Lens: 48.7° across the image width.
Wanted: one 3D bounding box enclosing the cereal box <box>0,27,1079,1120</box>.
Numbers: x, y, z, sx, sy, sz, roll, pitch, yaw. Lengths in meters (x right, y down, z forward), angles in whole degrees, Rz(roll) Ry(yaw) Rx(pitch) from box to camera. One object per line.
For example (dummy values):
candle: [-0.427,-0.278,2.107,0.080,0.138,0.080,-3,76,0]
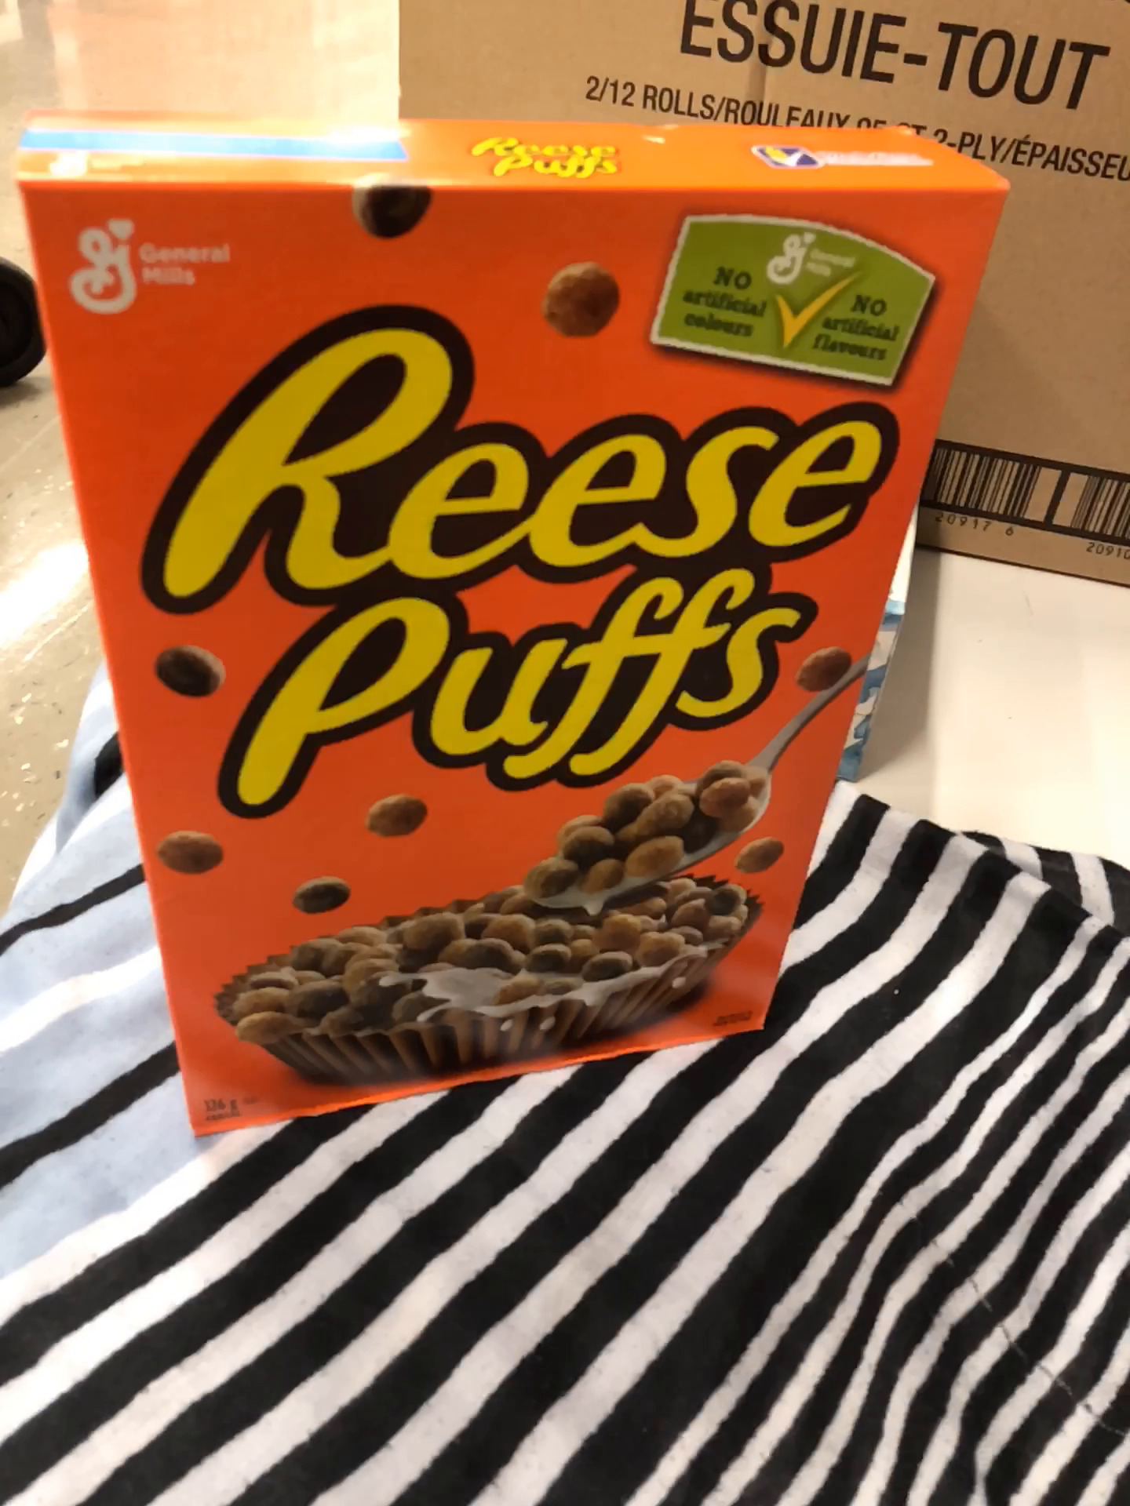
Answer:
cereal box: [-0.014,-0.024,0.317,0.210,0.269,0.040,-7,40,-15]
